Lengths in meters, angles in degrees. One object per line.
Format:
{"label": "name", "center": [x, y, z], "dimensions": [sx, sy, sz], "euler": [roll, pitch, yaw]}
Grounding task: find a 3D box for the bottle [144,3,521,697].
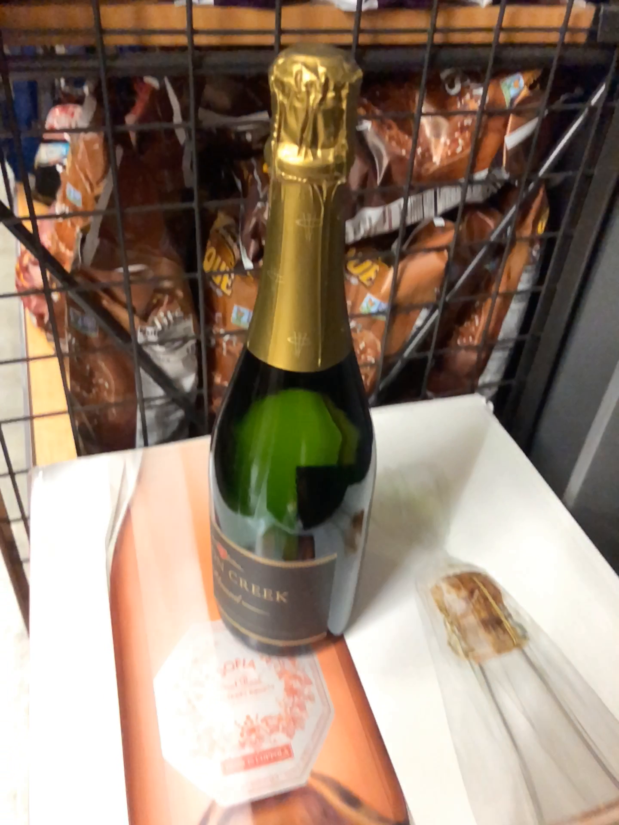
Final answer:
{"label": "bottle", "center": [-0.003, -0.007, 0.325], "dimensions": [0.090, 0.308, 0.090], "euler": [3, 38, -2]}
